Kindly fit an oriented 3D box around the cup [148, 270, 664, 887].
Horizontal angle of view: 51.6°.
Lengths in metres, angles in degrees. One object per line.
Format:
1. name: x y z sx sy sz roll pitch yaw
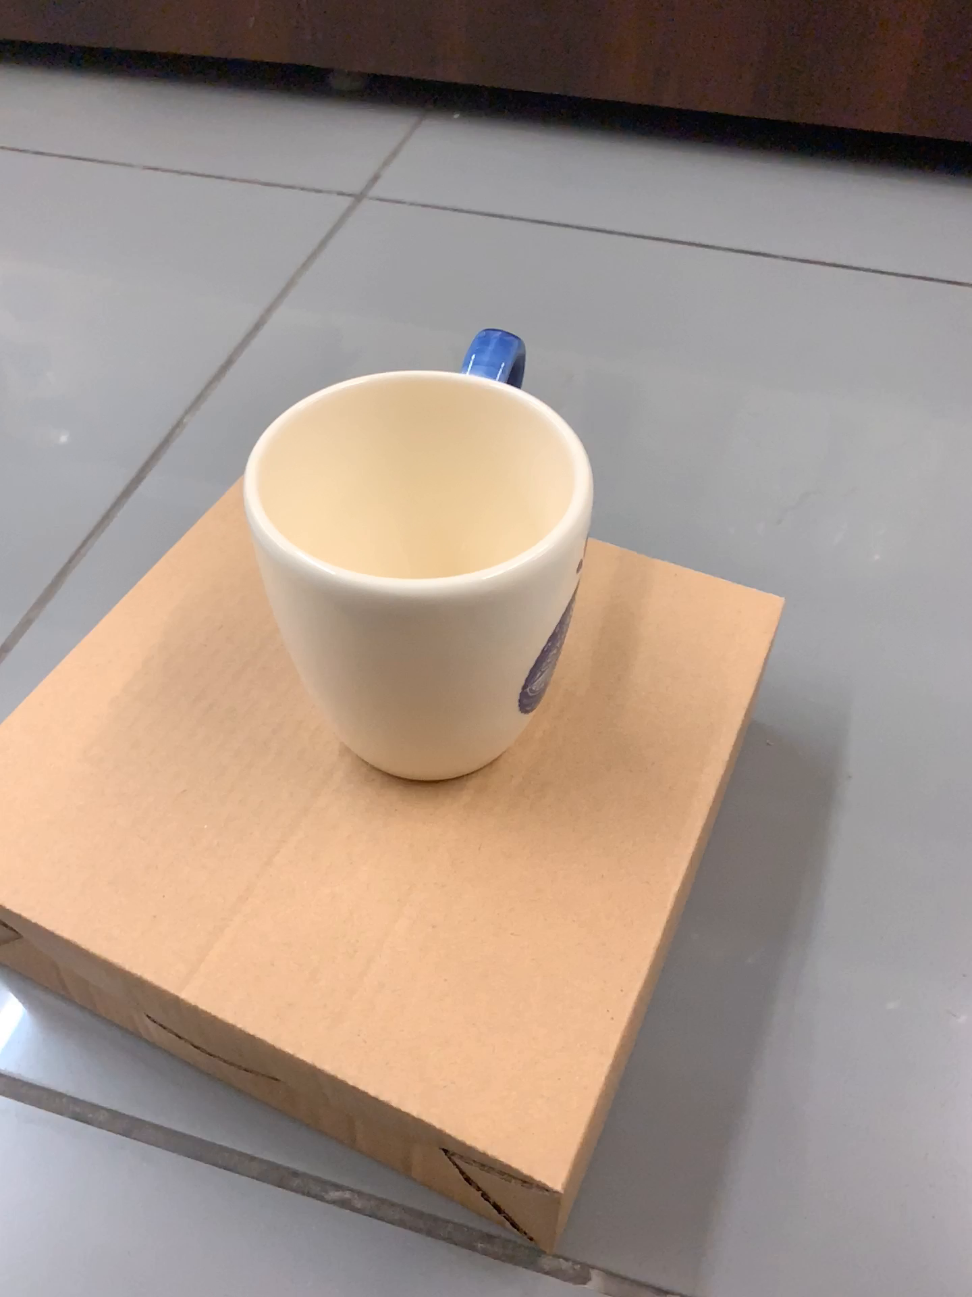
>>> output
1. cup: -0.011 -0.026 0.288 0.090 0.090 0.140 12 50 10
